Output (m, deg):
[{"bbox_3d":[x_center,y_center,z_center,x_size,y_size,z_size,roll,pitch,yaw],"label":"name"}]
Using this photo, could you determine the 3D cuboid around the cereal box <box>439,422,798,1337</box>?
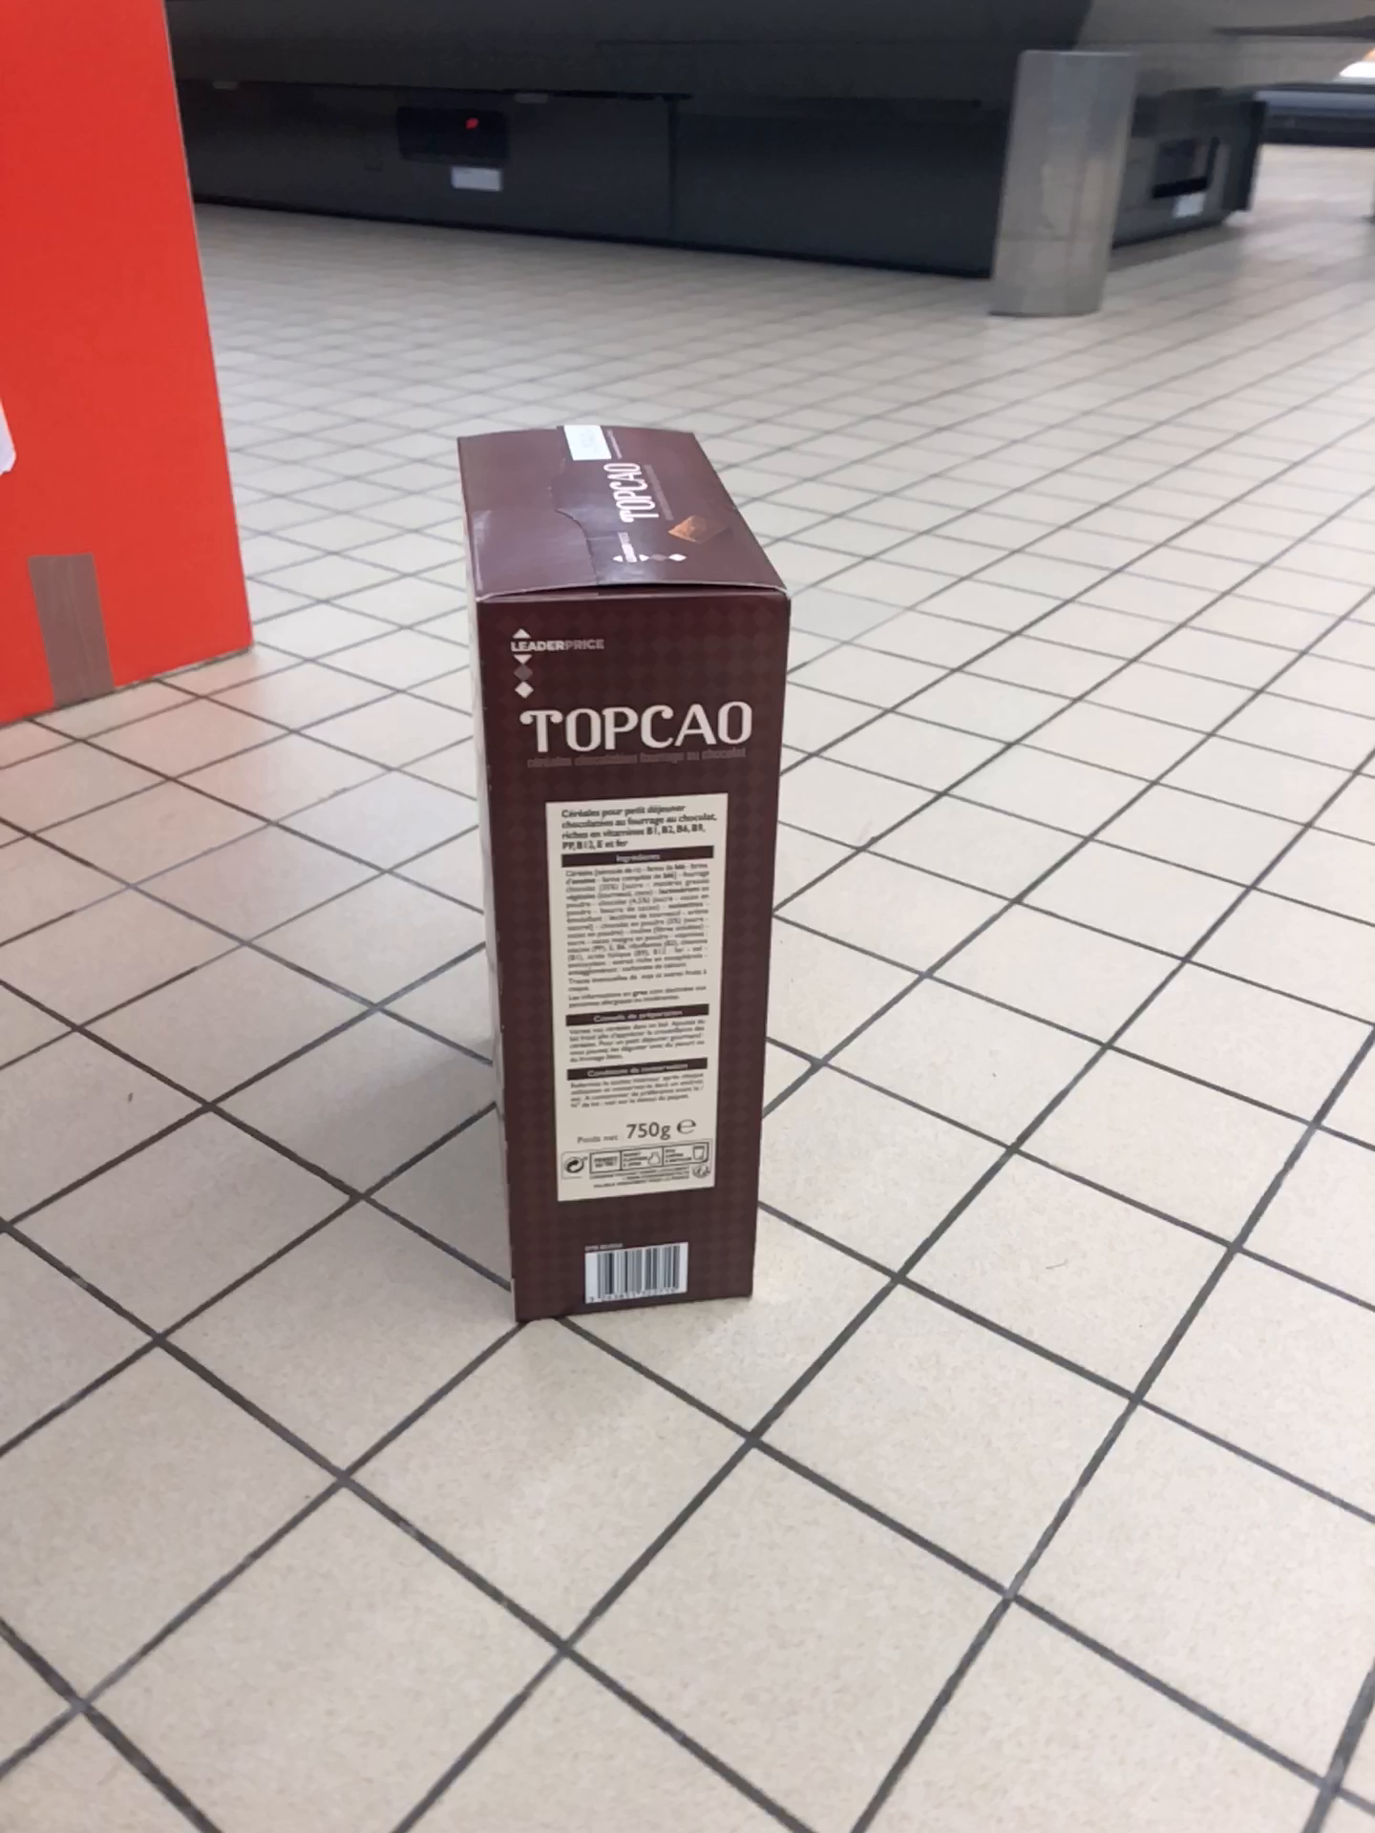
[{"bbox_3d":[-0.033,-0.020,0.591,0.100,0.288,0.201,-4,32,-8],"label":"cereal box"}]
